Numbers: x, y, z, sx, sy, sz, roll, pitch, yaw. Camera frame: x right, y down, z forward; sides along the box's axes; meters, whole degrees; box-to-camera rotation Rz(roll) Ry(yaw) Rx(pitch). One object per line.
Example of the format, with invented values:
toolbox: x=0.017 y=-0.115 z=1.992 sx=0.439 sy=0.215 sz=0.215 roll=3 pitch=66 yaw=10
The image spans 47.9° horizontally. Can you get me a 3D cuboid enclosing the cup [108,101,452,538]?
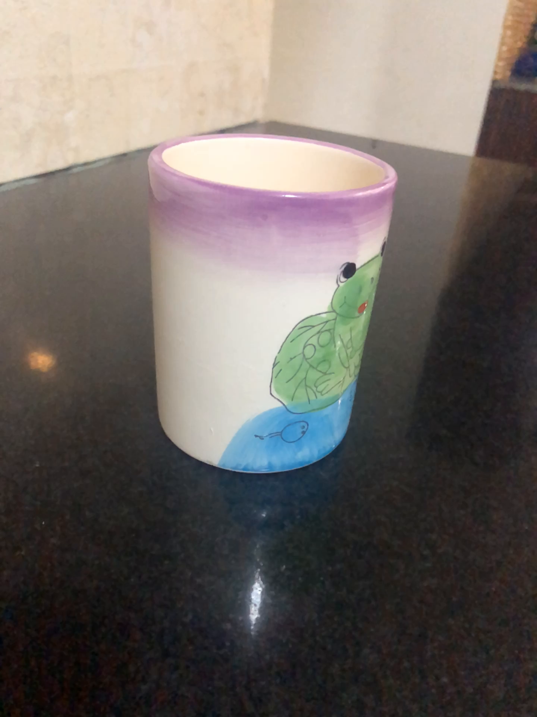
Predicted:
cup: x=0.010 y=-0.025 z=0.221 sx=0.080 sy=0.109 sz=0.111 roll=13 pitch=31 yaw=14
